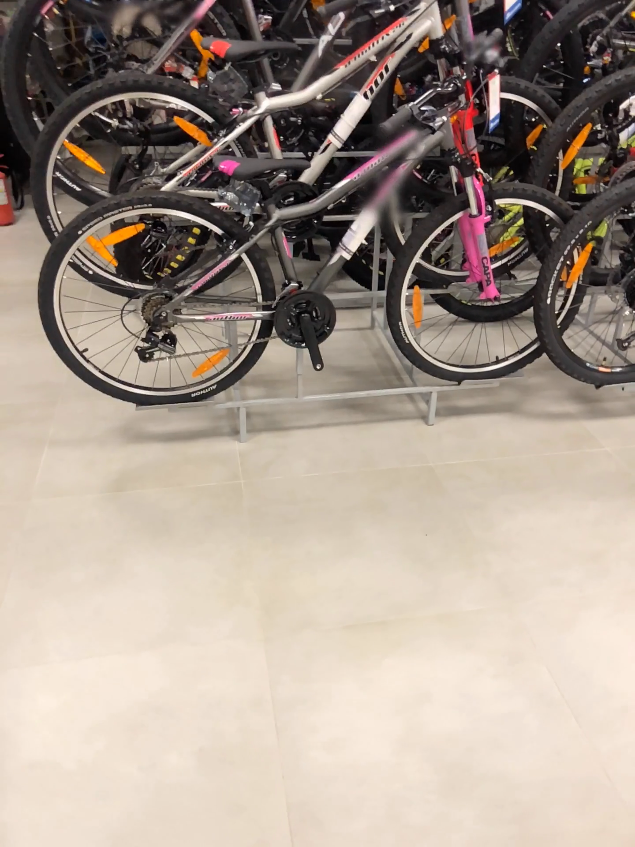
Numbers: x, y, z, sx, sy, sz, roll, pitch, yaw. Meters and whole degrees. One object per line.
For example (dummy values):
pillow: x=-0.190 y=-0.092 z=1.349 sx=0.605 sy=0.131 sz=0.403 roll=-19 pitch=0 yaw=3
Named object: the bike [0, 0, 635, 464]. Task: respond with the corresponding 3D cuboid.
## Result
bike: x=0.050 y=-0.601 z=1.907 sx=1.606 sy=0.991 sz=0.601 roll=-7 pitch=31 yaw=-7
